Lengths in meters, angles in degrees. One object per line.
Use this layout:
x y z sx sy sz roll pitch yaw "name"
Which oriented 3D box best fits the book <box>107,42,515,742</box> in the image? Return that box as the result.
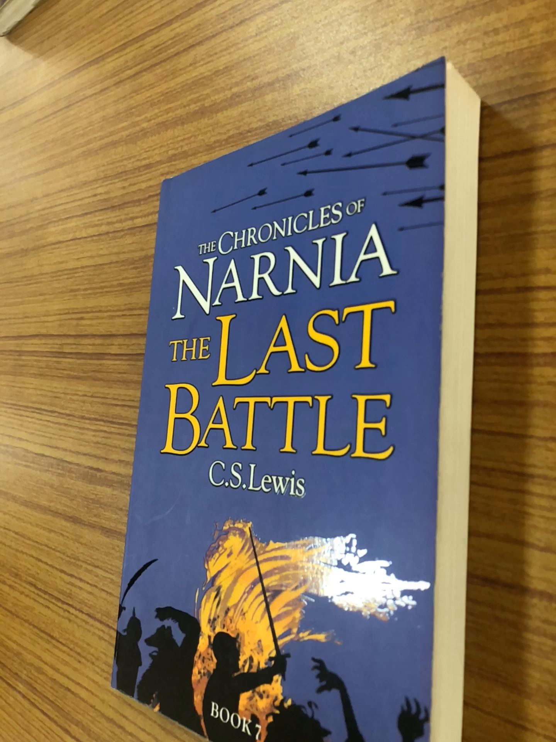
0.003 0.017 0.211 0.141 0.030 0.200 -3 80 42 "book"
